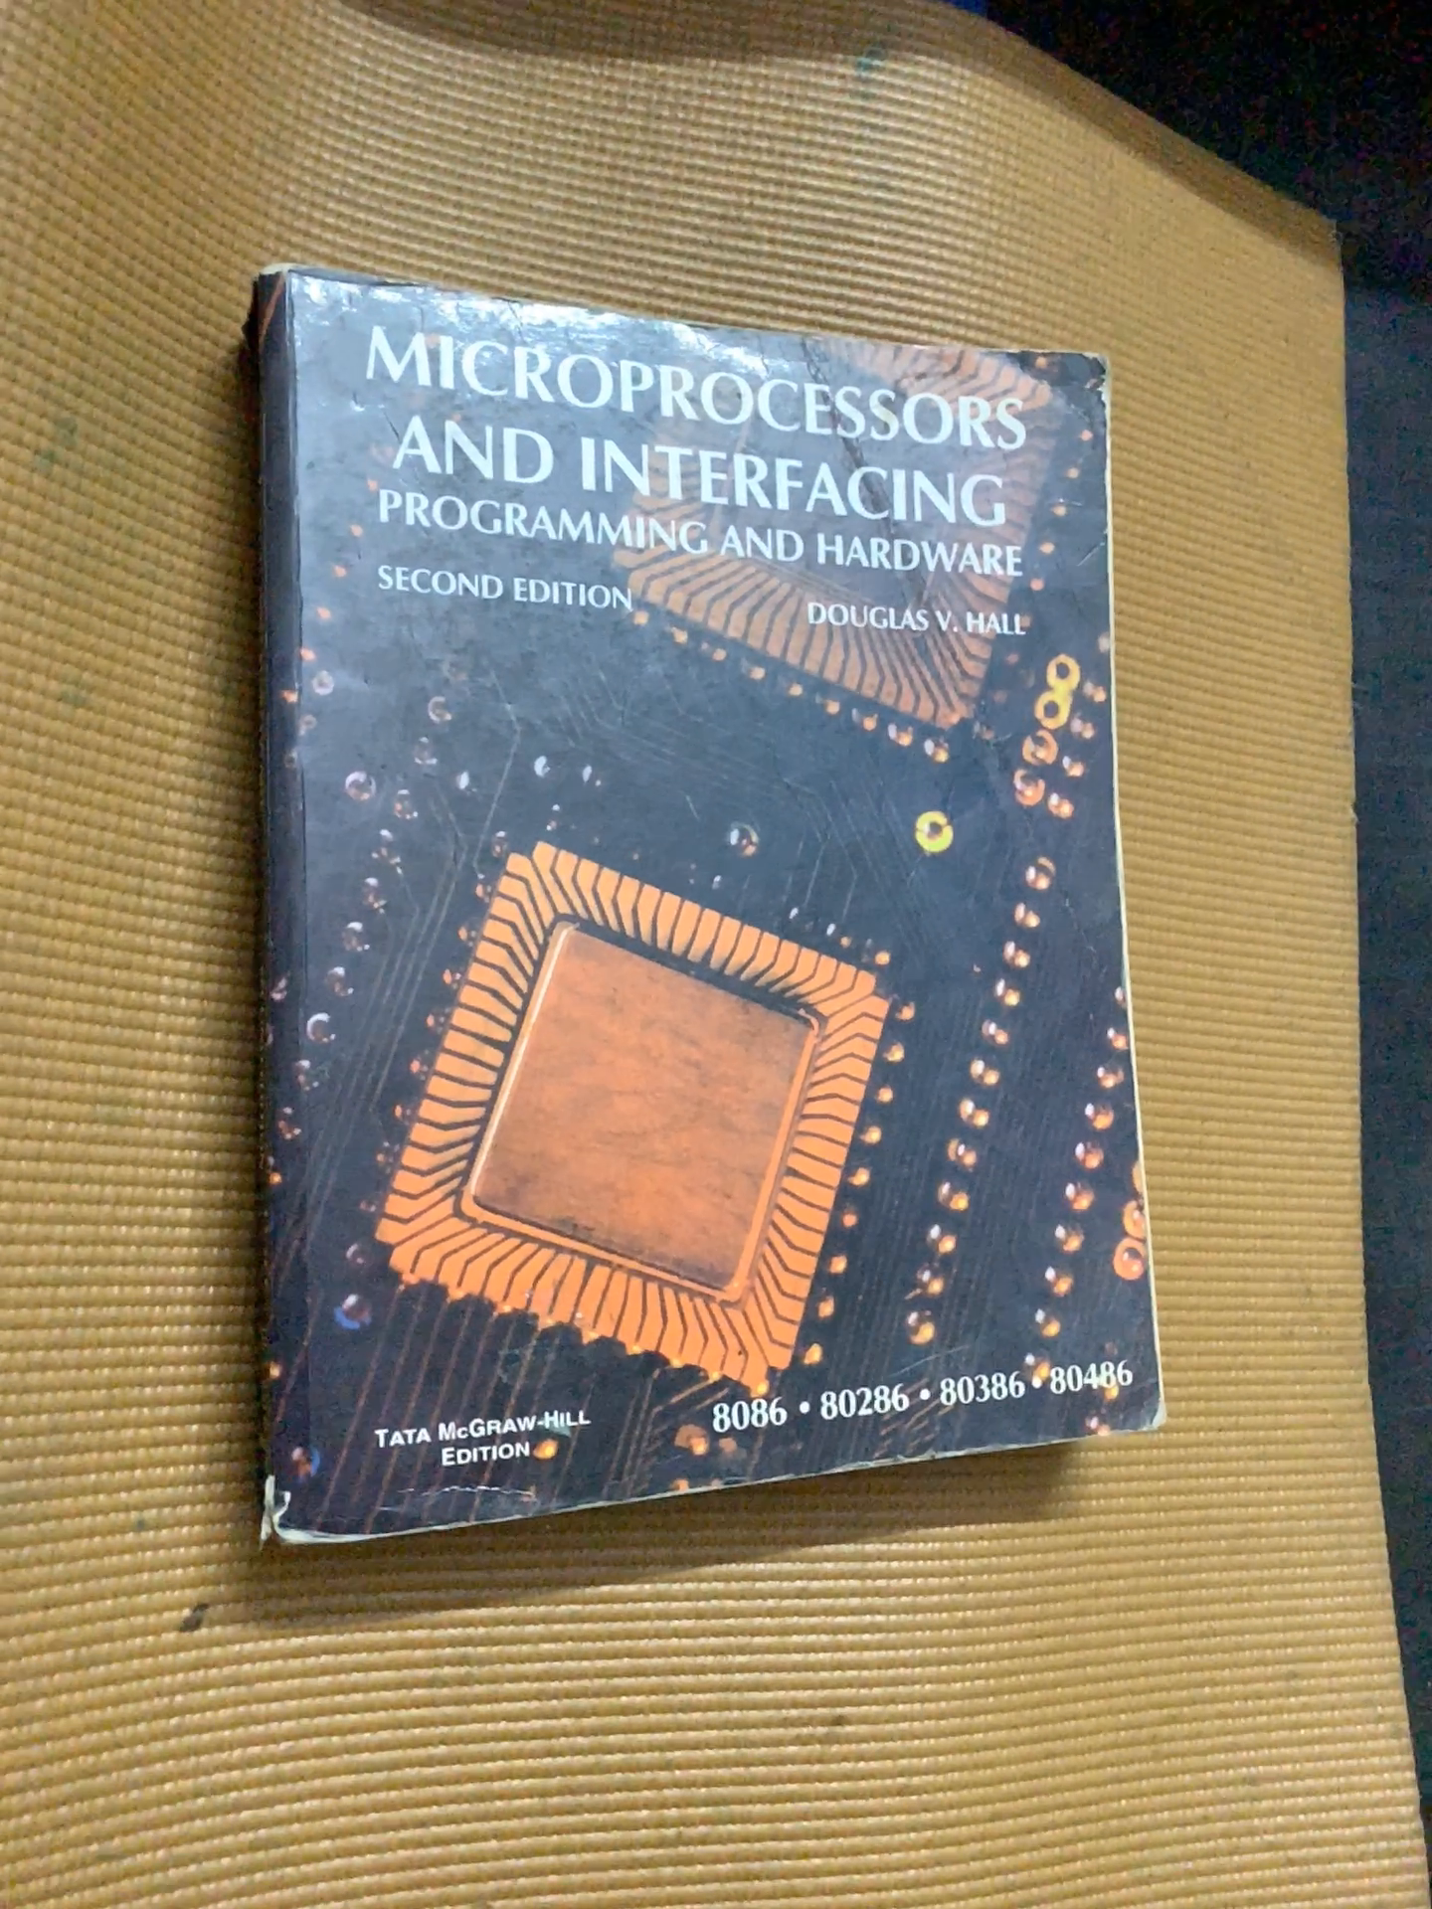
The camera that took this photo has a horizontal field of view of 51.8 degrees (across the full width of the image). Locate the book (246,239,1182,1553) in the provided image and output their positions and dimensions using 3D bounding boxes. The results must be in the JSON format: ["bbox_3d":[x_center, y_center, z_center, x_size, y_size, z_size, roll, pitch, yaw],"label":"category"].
[{"bbox_3d":[-0.002,-0.020,0.441,0.260,0.060,0.339,0,83,-16],"label":"book"}]
